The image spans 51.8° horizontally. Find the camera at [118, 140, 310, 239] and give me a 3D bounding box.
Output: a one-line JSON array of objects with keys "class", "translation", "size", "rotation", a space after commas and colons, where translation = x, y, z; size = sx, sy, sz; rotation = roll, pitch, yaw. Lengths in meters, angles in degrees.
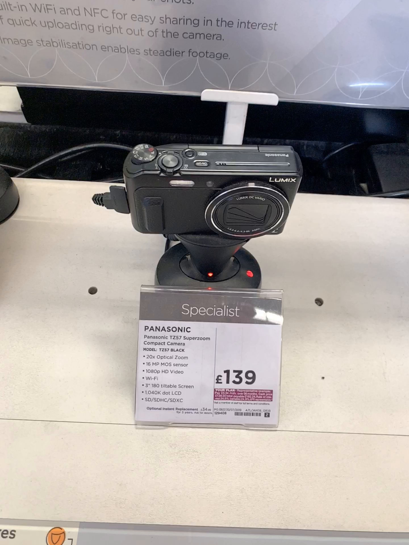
[{"class": "camera", "translation": [0.004, -0.052, 0.276], "size": [0.111, 0.060, 0.030], "rotation": [0, 59, -3]}]
